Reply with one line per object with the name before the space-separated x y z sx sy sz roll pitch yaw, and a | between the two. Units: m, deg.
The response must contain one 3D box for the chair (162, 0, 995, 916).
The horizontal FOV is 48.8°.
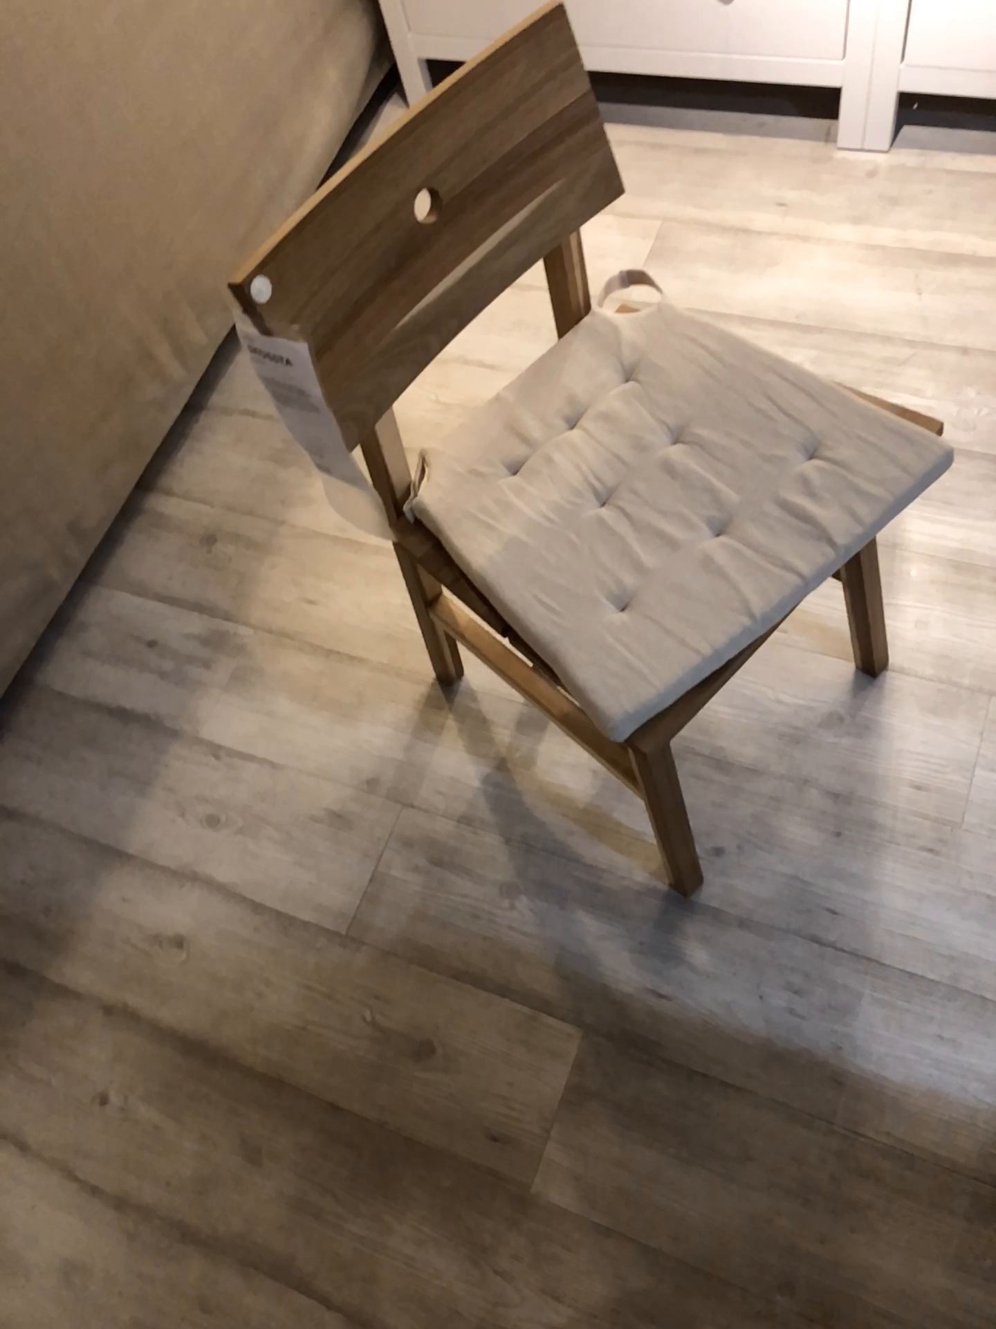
chair | 0.148 -0.194 1.069 0.531 0.599 0.500 37 75 27
